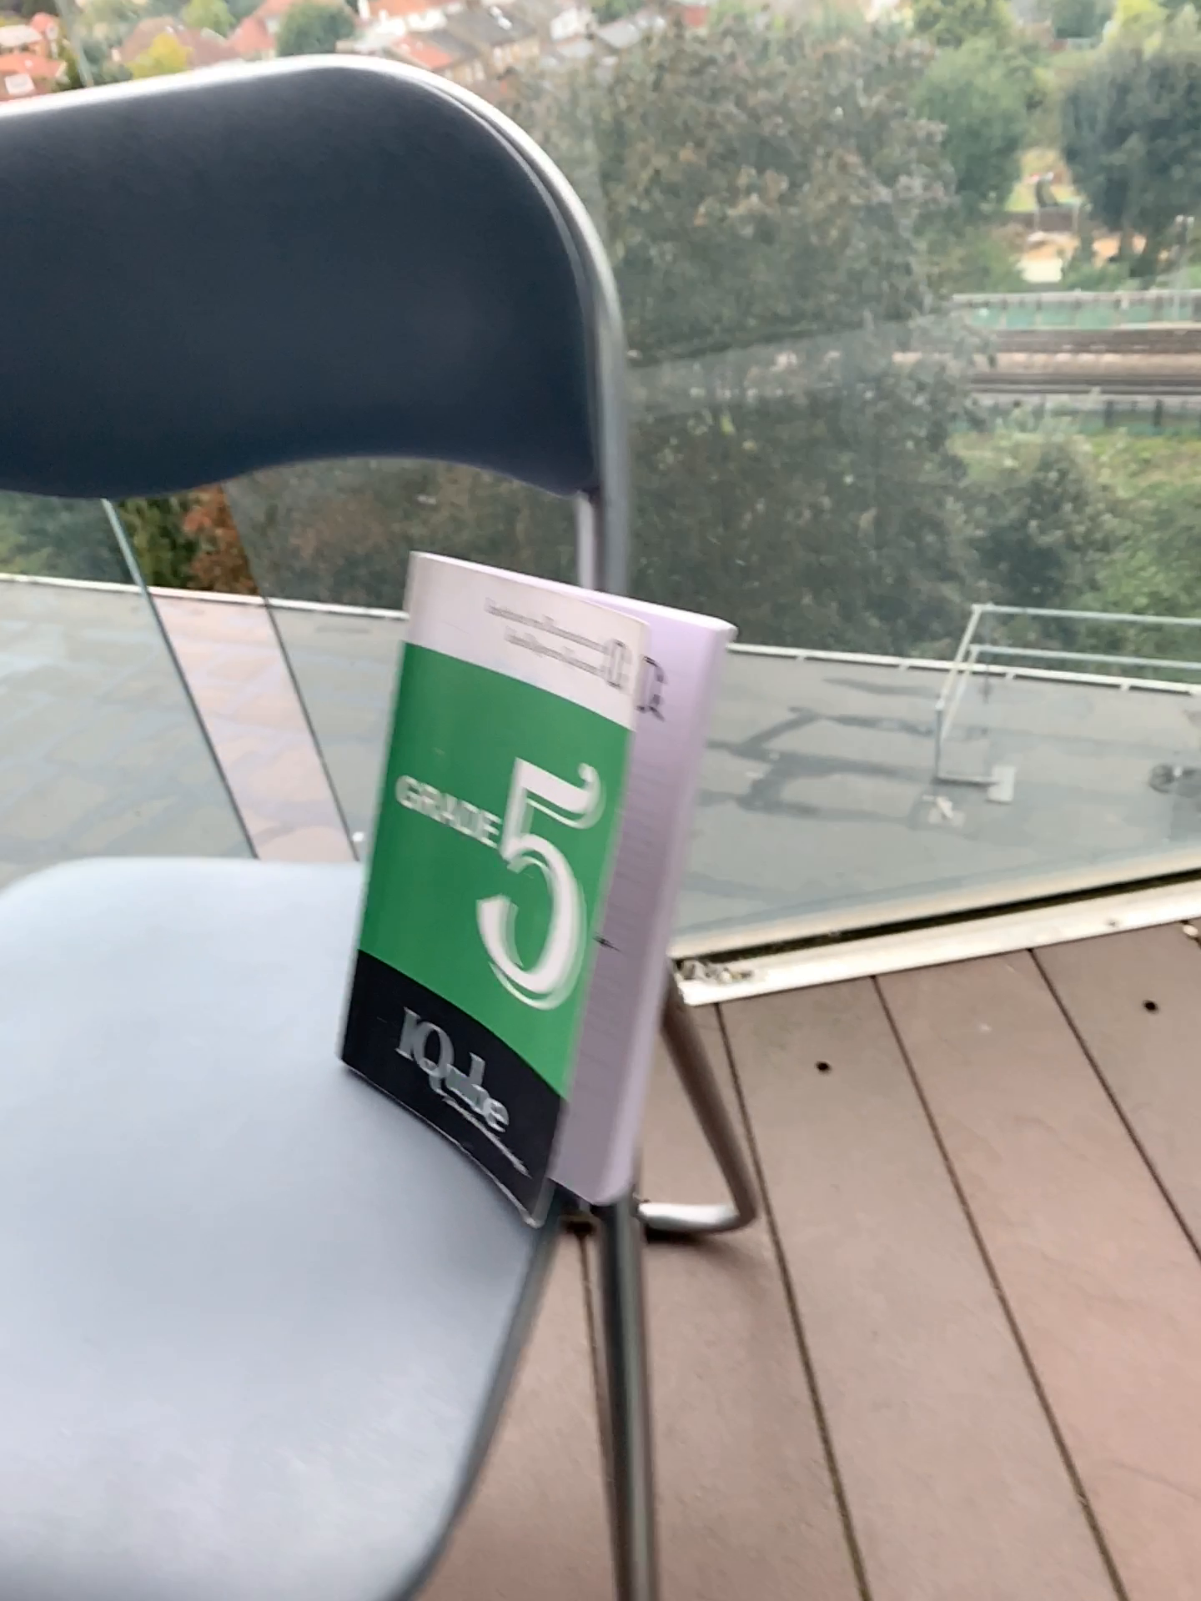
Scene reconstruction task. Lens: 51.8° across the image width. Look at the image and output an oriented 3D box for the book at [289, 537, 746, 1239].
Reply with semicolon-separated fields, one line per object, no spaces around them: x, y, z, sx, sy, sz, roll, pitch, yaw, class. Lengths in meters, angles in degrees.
-0.040;0.022;0.451;0.151;0.209;0.040;21;14;42;book
